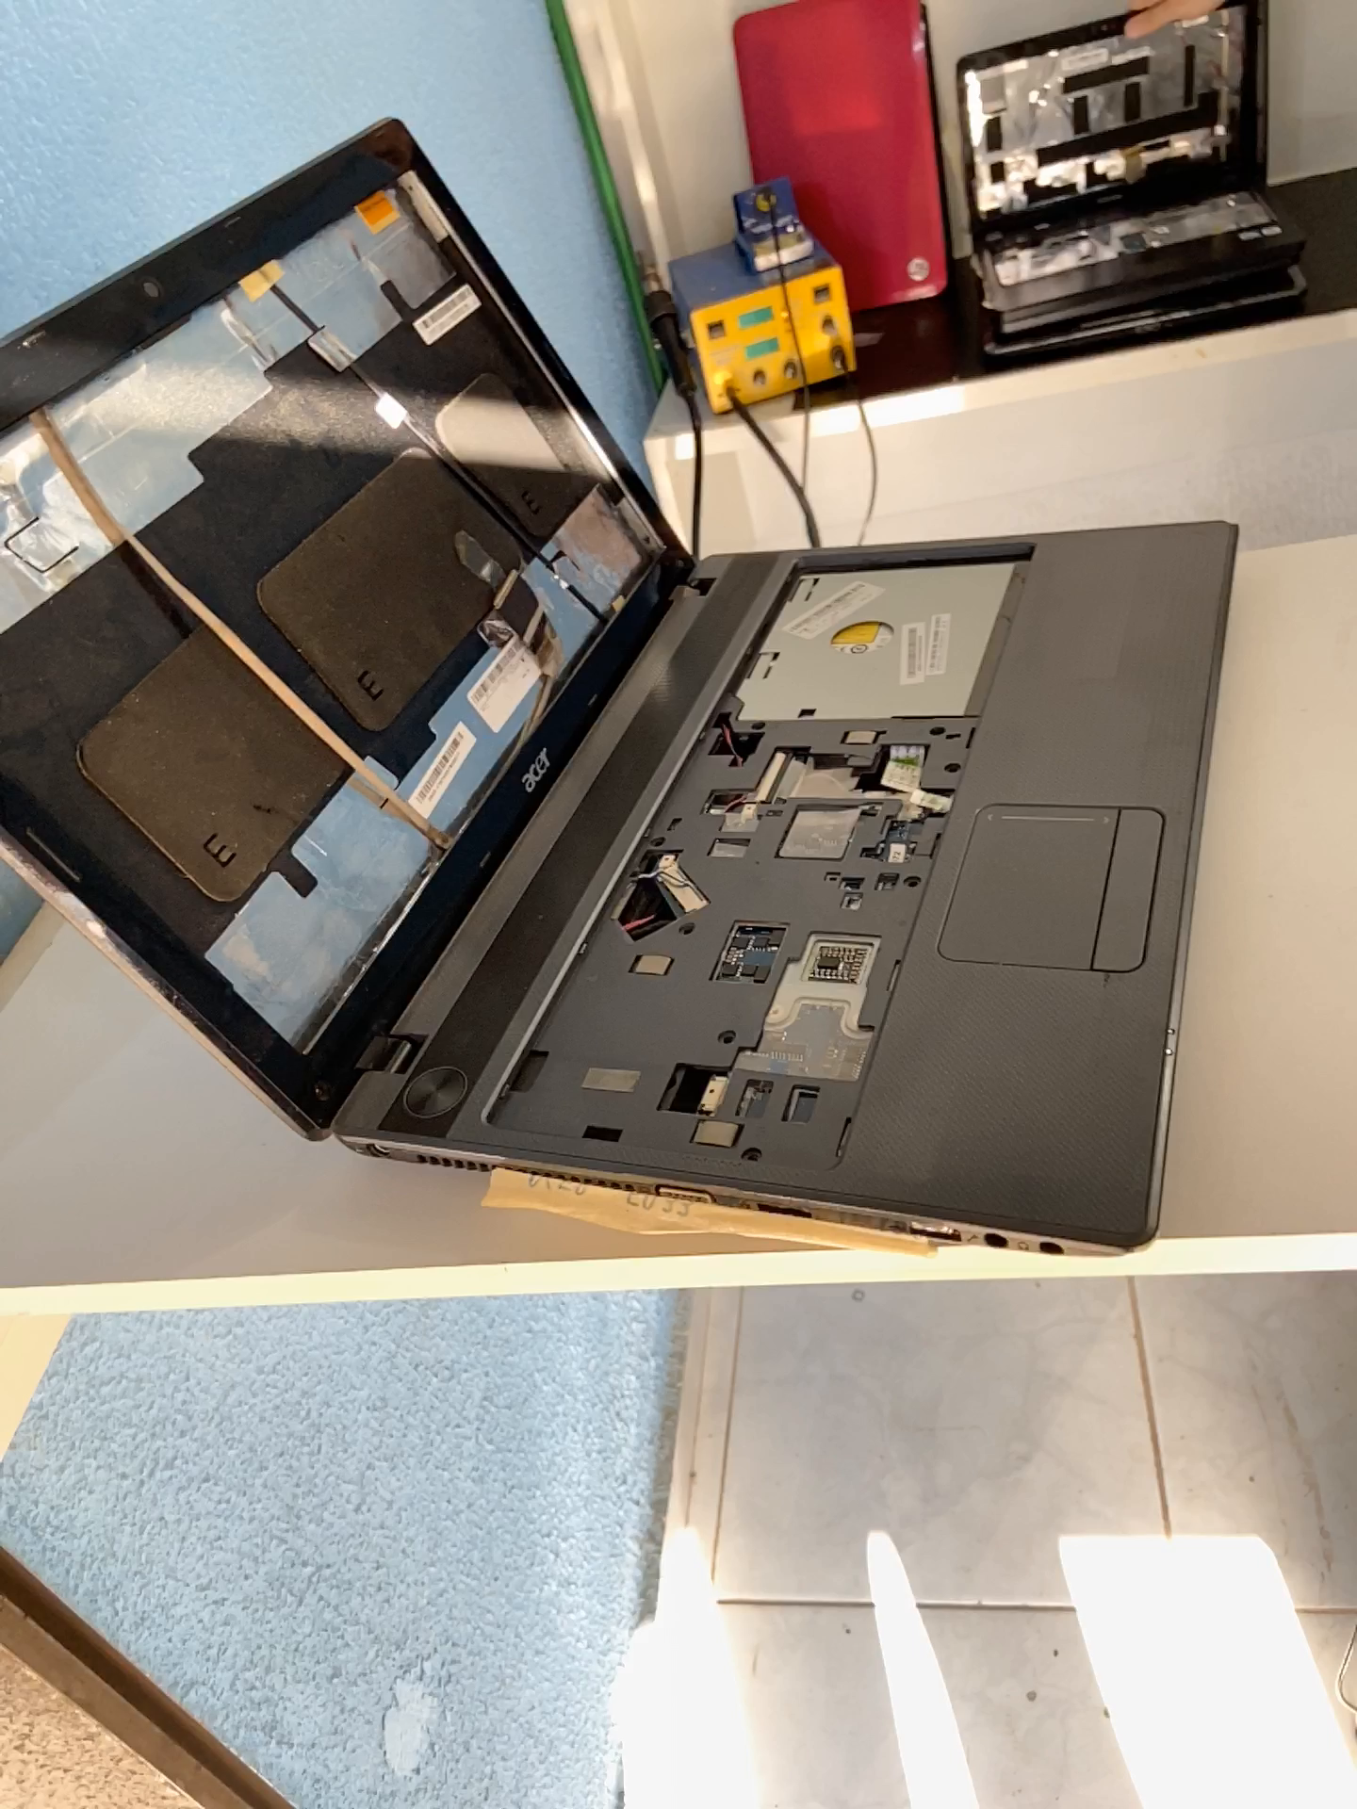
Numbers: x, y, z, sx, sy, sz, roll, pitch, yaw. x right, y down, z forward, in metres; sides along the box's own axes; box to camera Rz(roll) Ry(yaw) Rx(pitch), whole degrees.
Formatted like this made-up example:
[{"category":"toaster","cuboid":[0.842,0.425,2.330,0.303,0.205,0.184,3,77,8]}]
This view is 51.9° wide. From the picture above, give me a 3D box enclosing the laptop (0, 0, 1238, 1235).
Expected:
[{"category":"laptop","cuboid":[-0.011,-0.131,0.480,0.350,0.210,0.380,2,42,25]}]
